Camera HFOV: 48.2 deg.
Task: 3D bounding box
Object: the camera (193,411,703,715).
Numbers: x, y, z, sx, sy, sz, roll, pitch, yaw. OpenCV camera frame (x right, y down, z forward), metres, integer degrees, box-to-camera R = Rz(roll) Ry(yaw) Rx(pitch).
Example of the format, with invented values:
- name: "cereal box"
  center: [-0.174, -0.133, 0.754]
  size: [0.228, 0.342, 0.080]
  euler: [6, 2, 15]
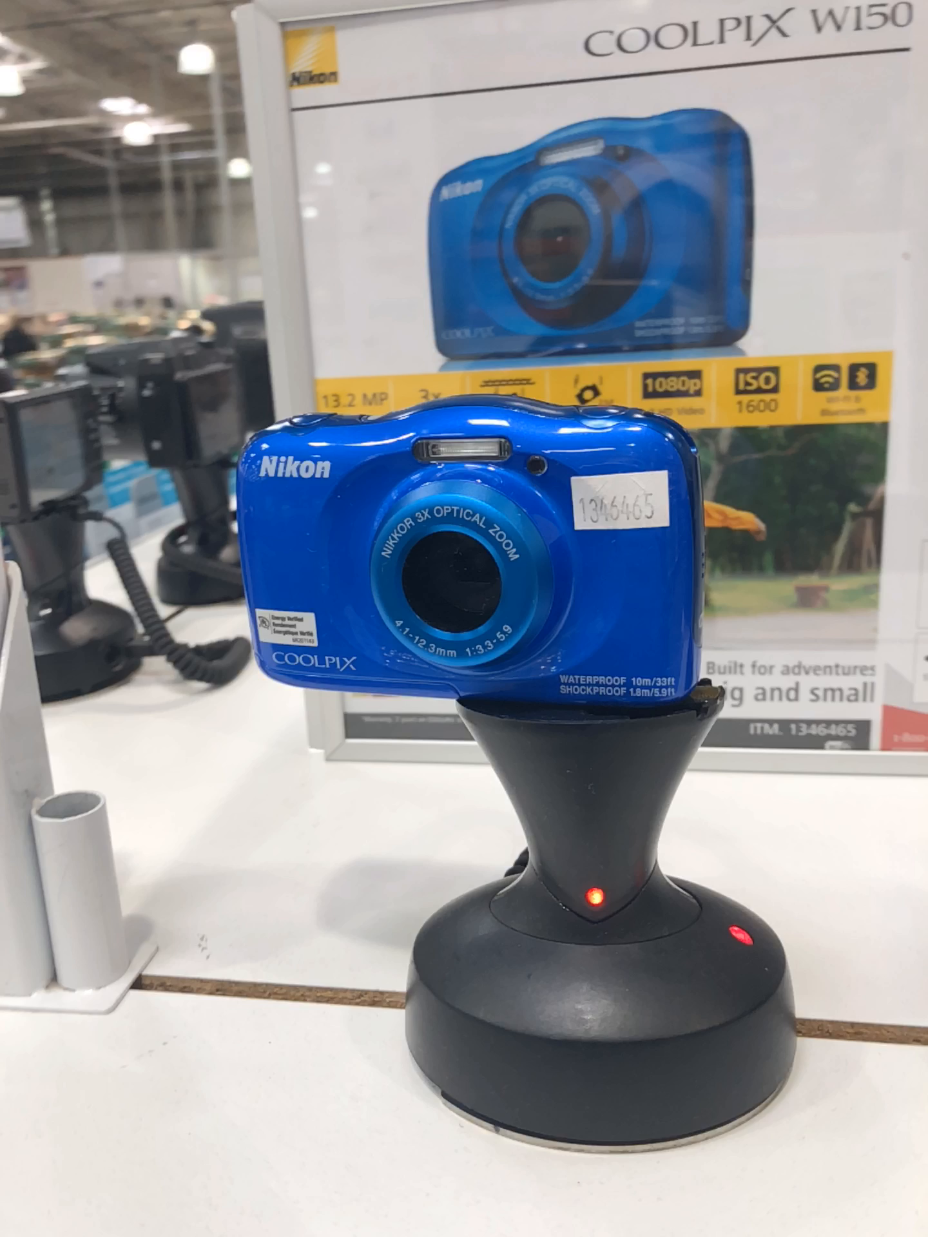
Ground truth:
- name: "camera"
  center: [-0.001, -0.015, 0.245]
  size: [0.110, 0.060, 0.040]
  euler: [1, 16, 14]
